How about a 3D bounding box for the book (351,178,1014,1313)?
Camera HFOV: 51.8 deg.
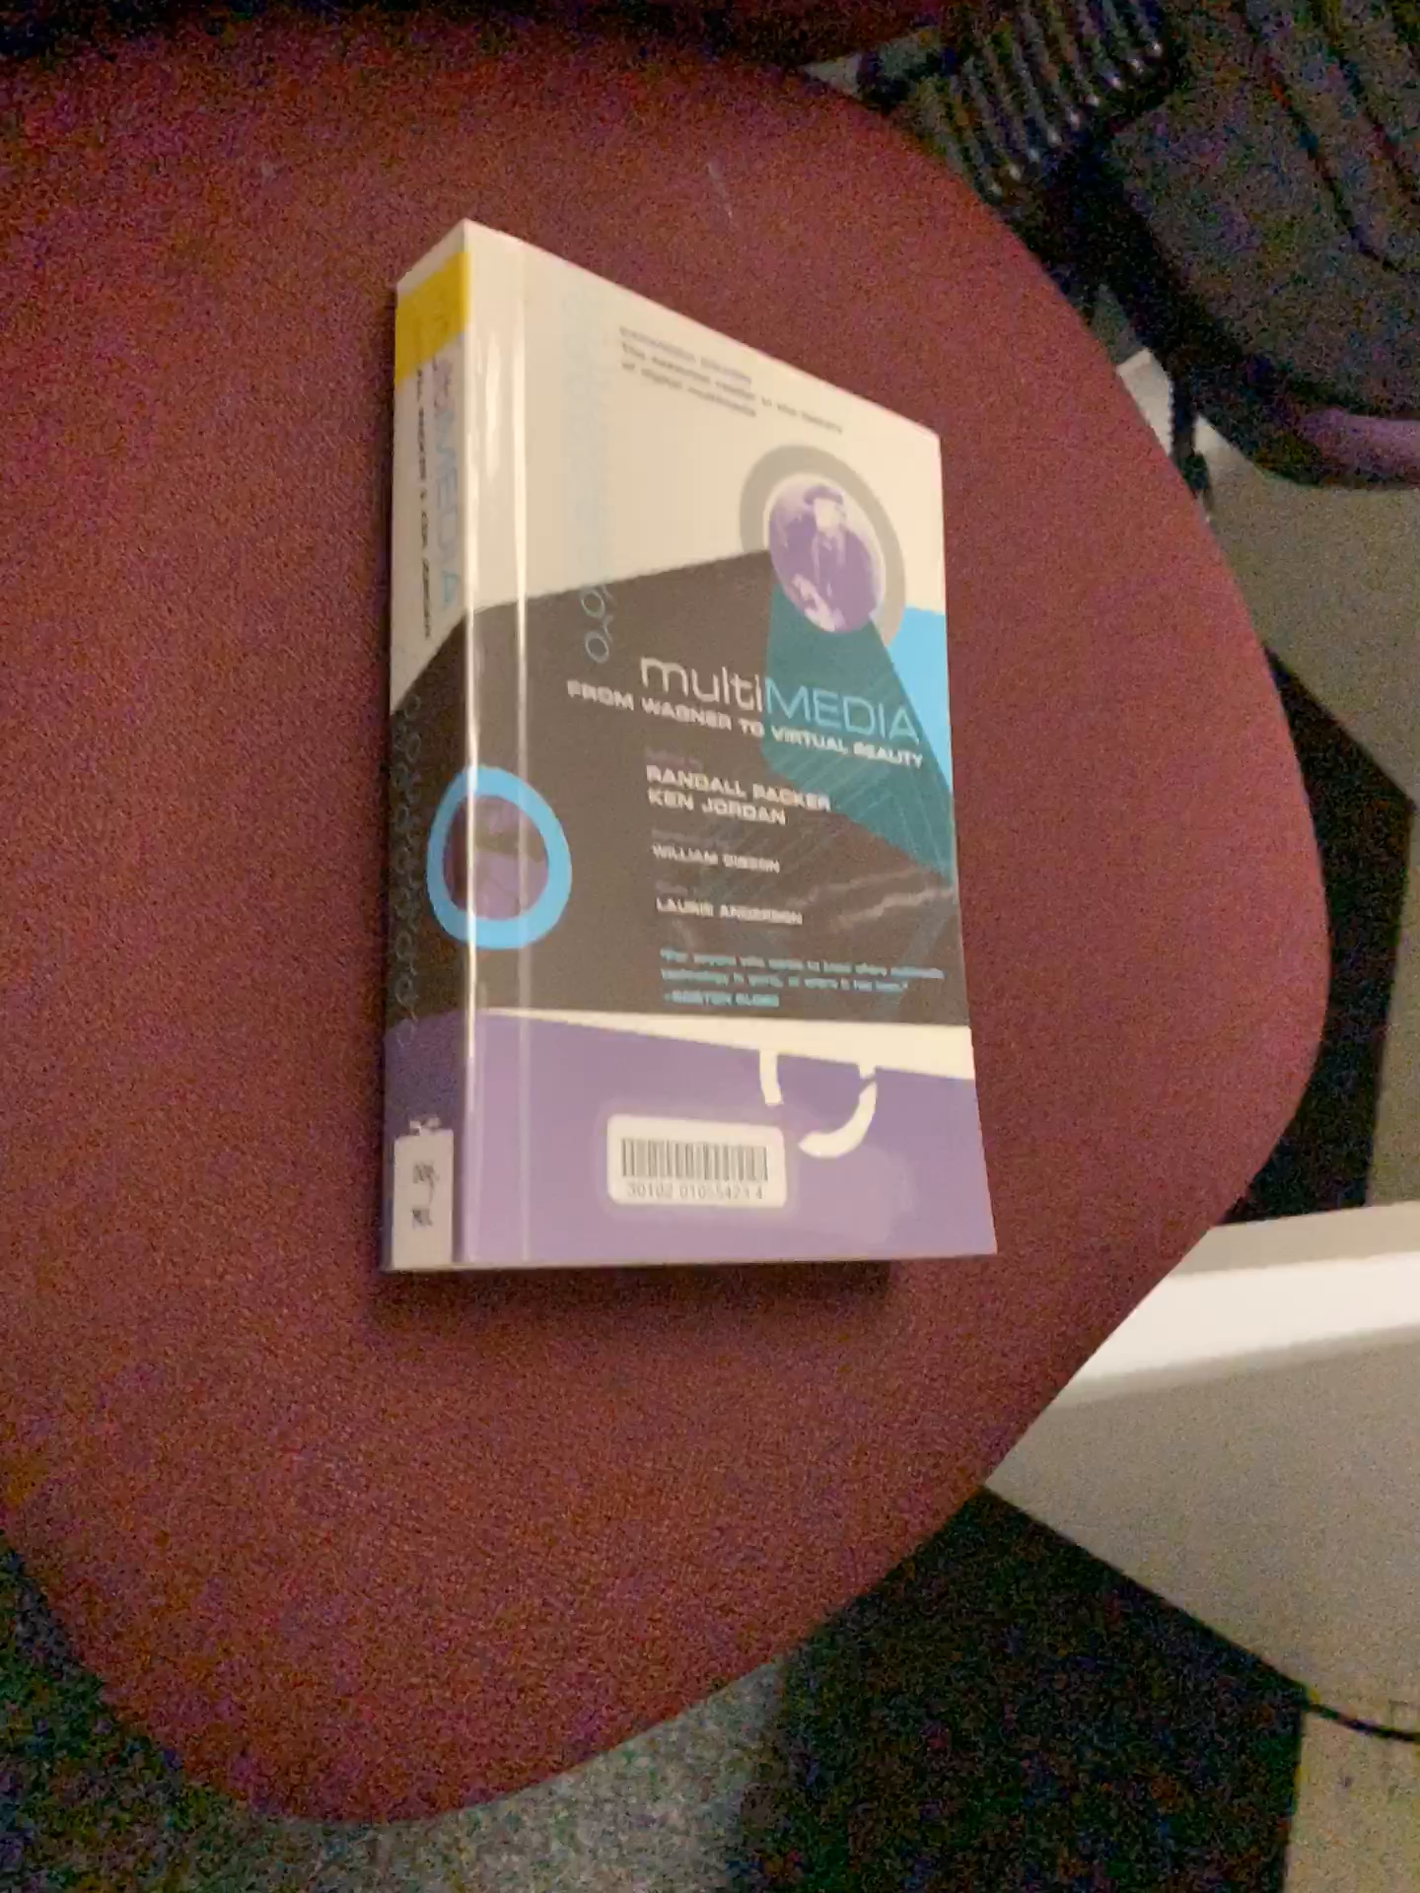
[{"bbox_3d":[-0.005,-0.041,0.365,0.160,0.040,0.248,8,73,-37],"label":"book"}]
